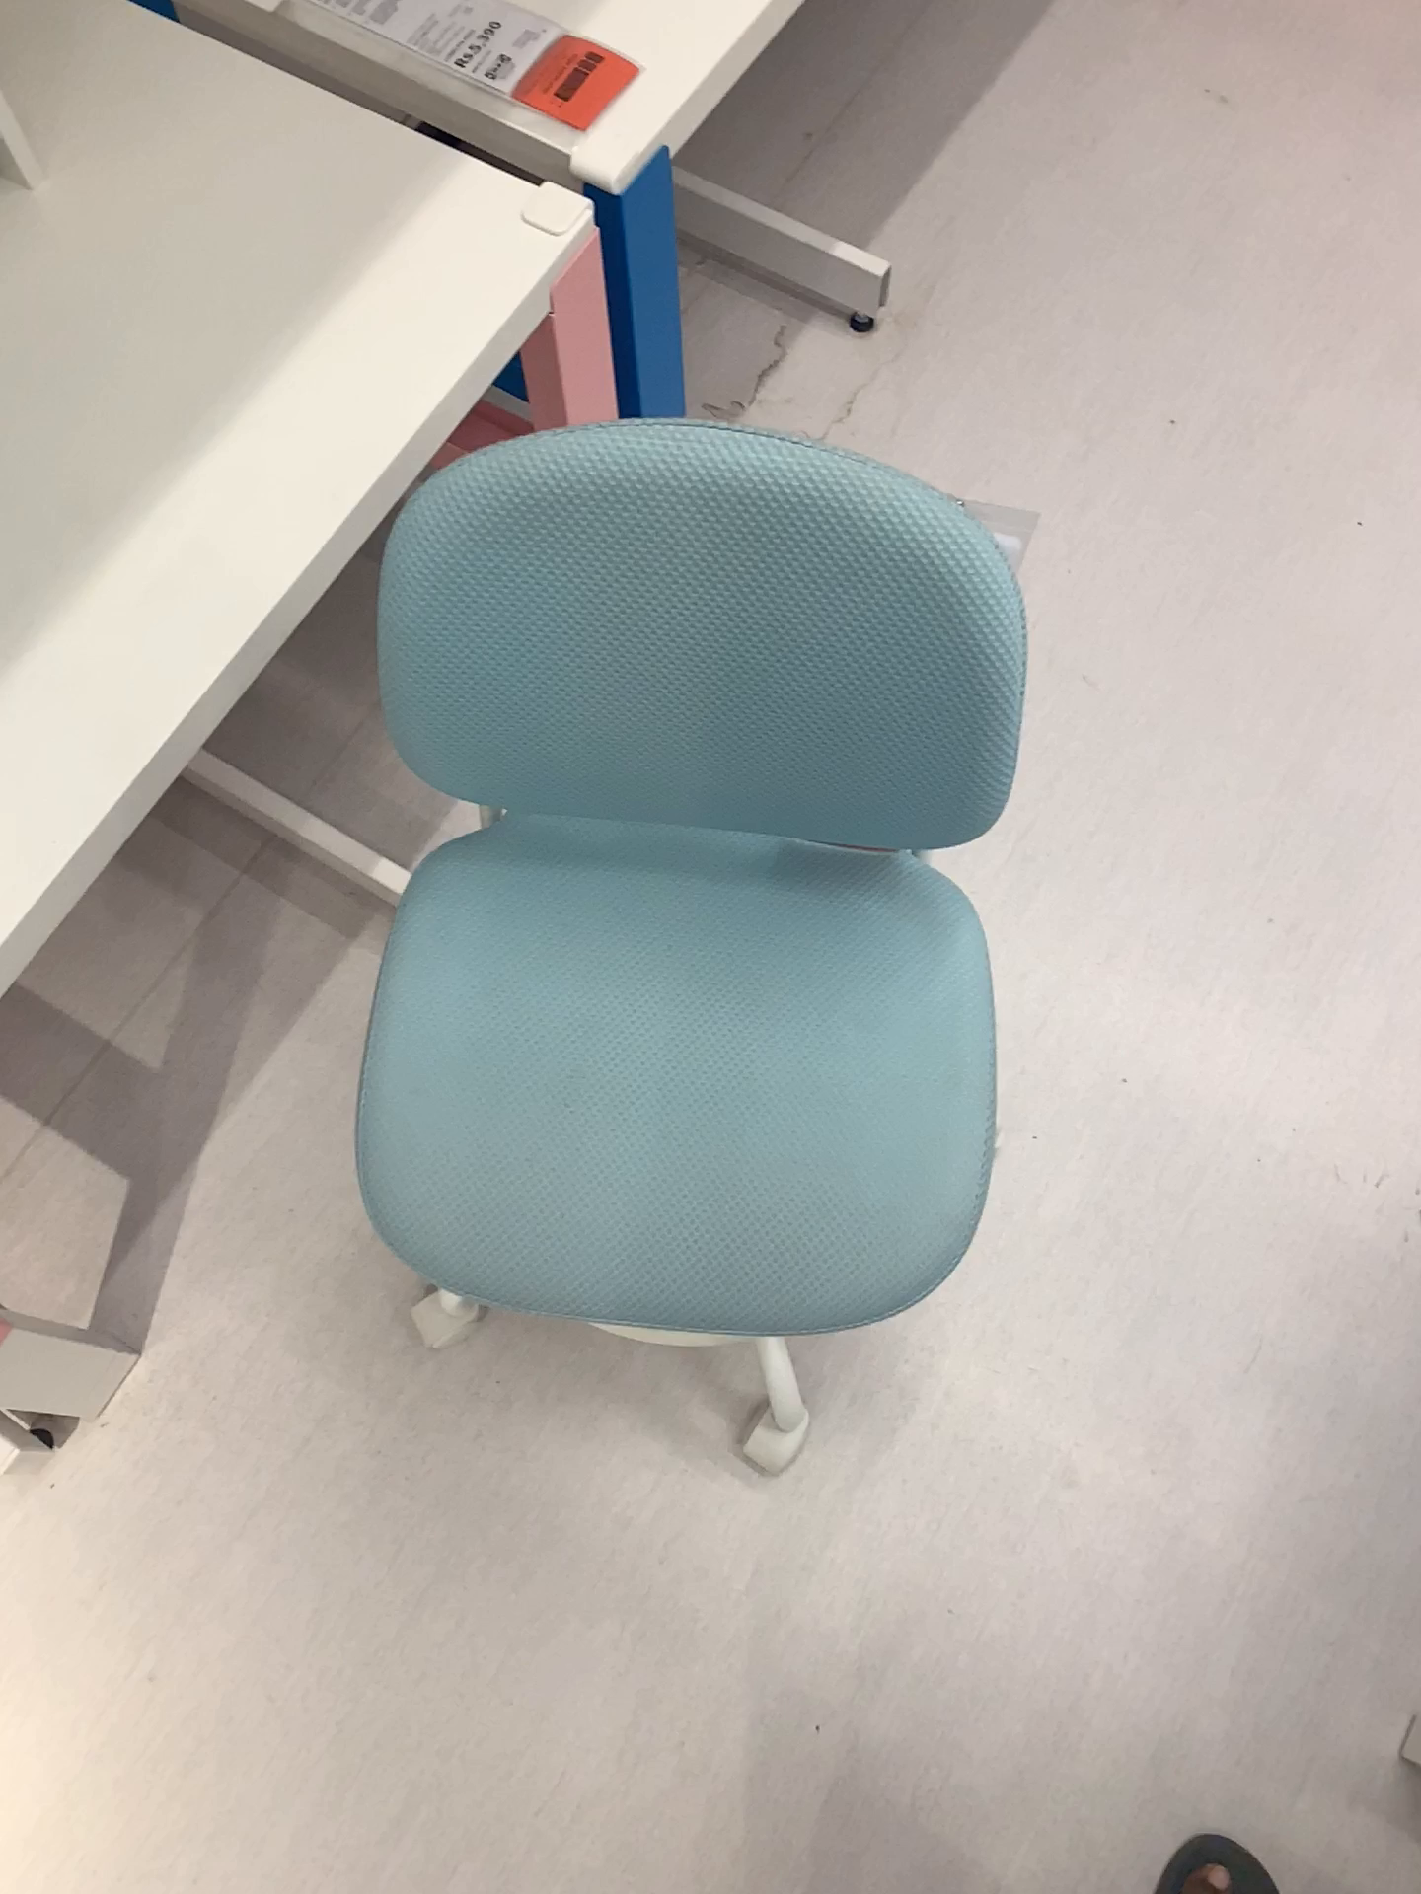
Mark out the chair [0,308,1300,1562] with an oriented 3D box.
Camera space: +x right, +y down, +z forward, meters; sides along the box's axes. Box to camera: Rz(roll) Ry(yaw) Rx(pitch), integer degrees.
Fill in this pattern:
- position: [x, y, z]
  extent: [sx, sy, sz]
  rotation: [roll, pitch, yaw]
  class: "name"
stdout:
- position: [-0.008, 0.059, 1.032]
  extent: [0.580, 0.679, 0.610]
  rotation: [5, 70, 3]
  class: "chair"
